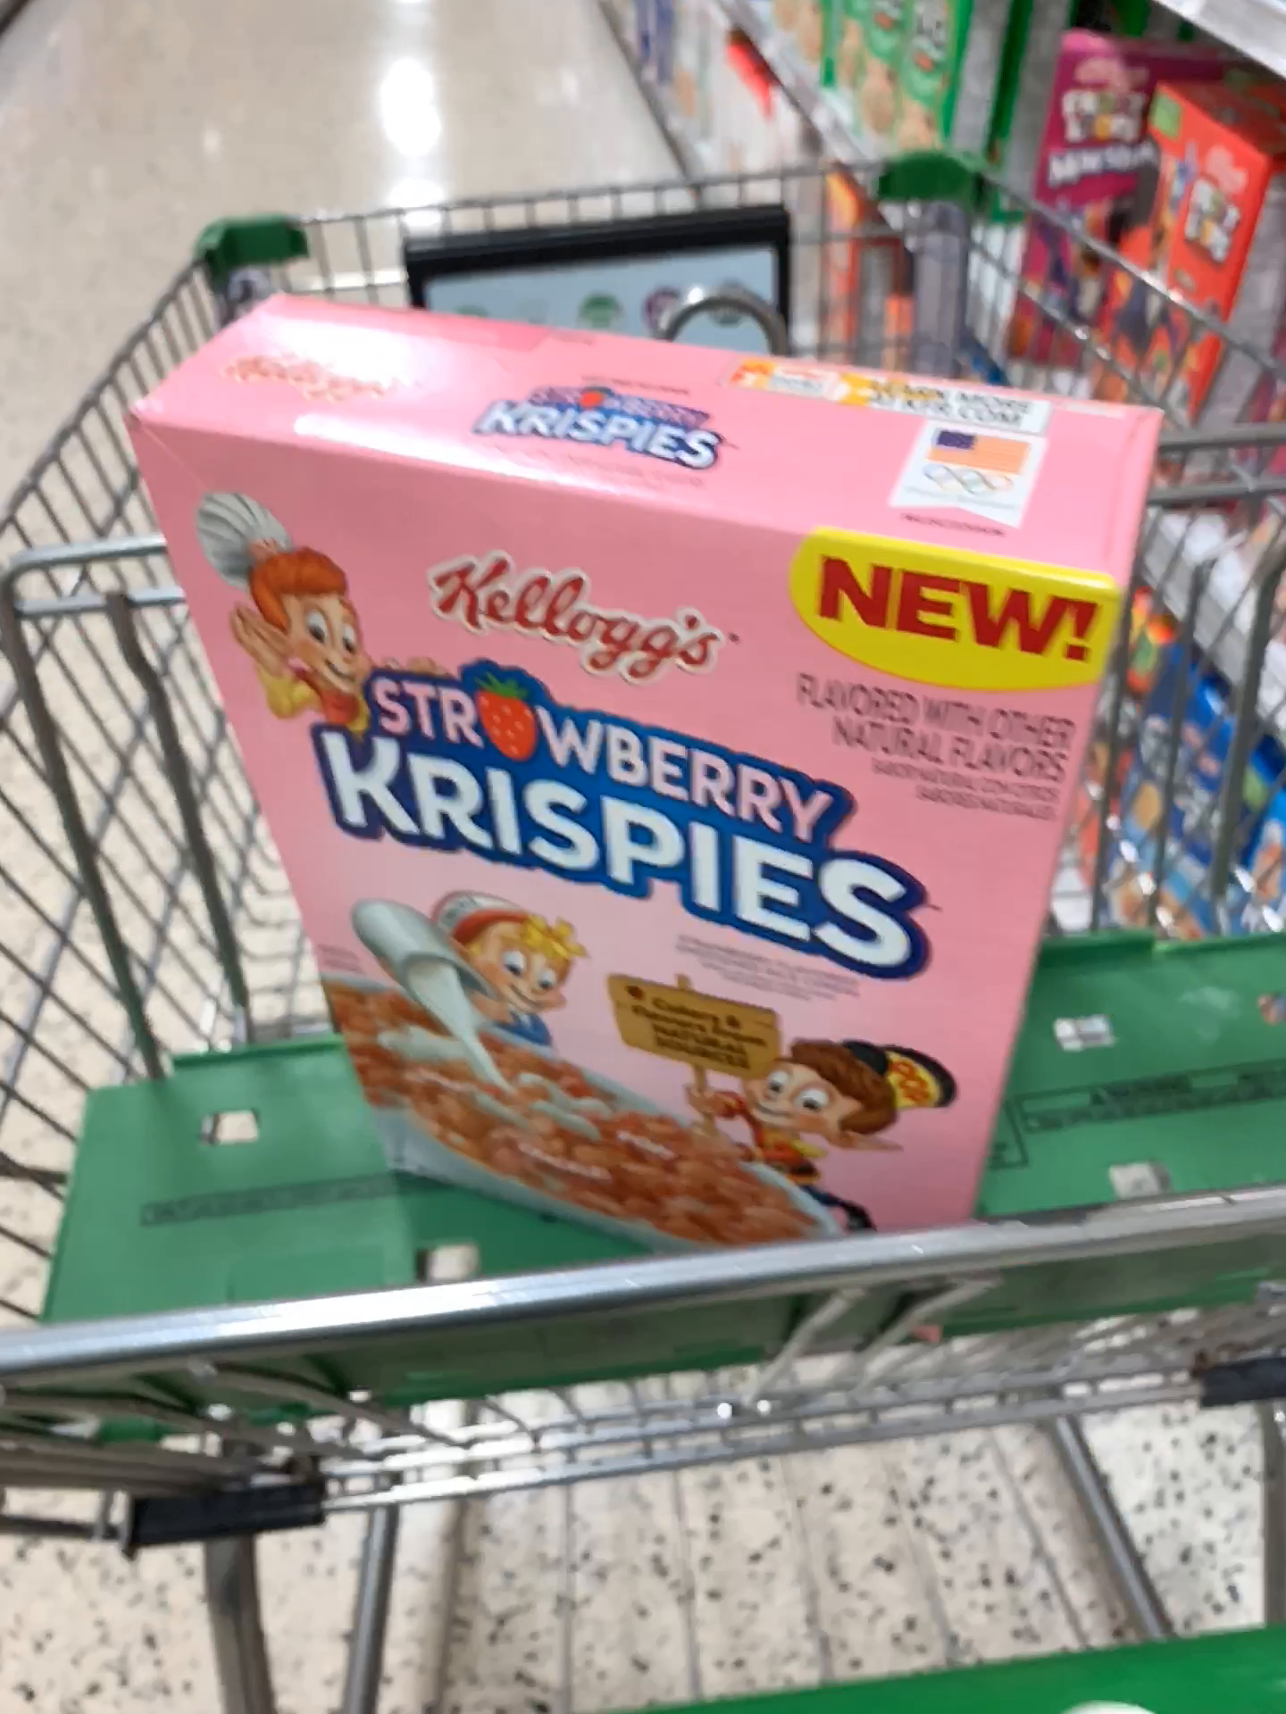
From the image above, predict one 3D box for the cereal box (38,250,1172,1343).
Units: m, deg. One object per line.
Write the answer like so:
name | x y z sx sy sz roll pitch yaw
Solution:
cereal box | -0.005 0.009 0.367 0.210 0.297 0.061 14 50 15
